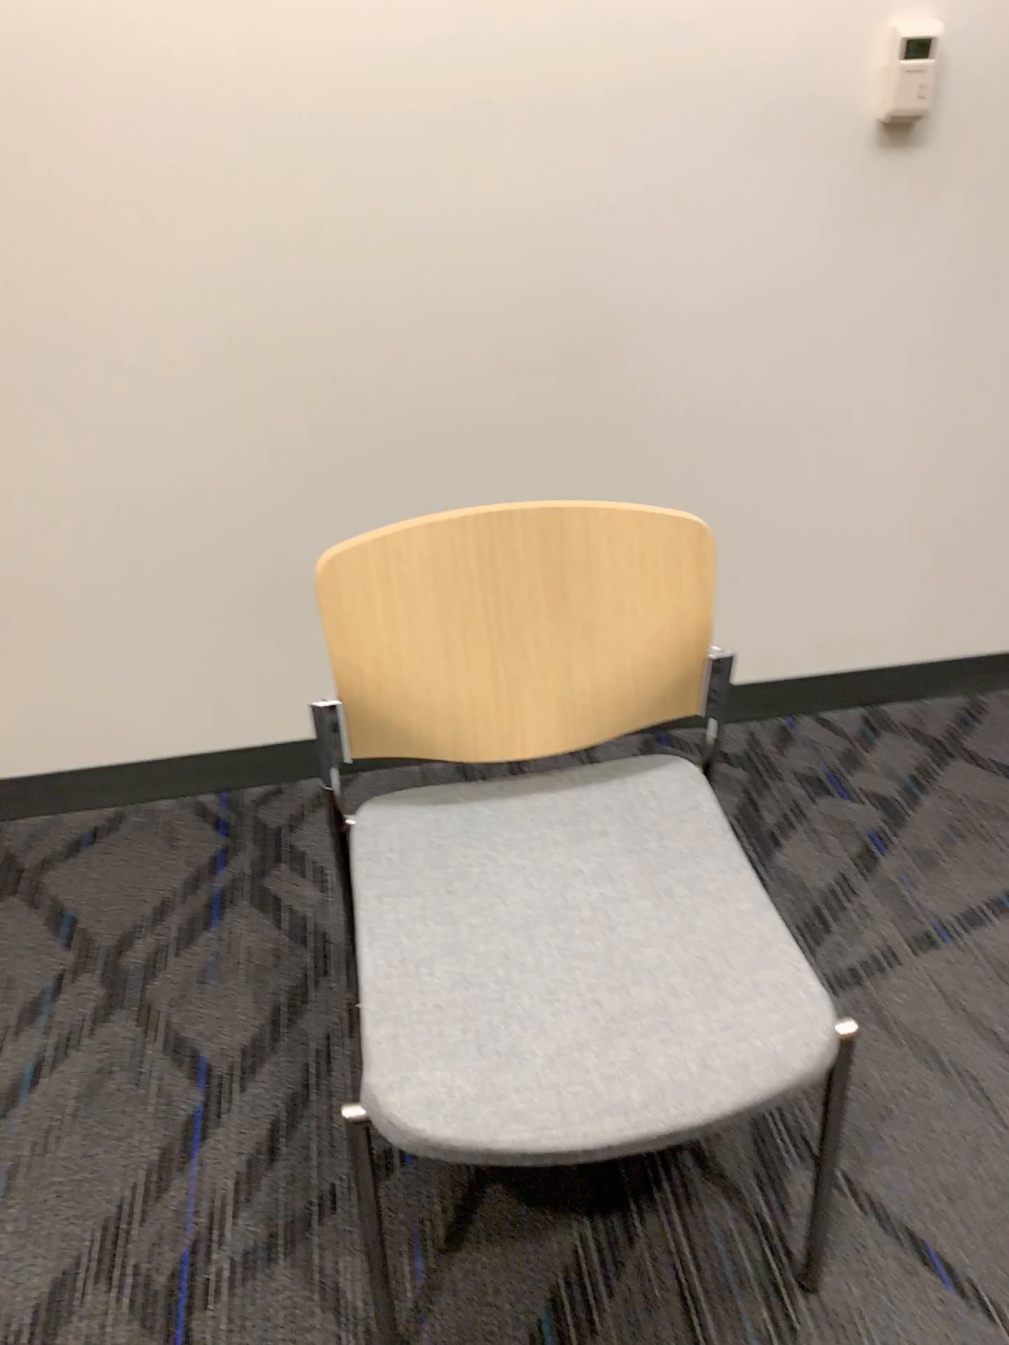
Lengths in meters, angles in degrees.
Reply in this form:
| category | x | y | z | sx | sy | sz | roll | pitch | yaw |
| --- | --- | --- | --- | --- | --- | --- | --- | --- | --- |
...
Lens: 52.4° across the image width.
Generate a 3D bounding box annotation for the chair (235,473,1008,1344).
| category | x | y | z | sx | sy | sz | roll | pitch | yaw |
| --- | --- | --- | --- | --- | --- | --- | --- | --- | --- |
| chair | 0.068 | 0.250 | 1.088 | 0.554 | 0.704 | 0.540 | -8 | 33 | -8 |
